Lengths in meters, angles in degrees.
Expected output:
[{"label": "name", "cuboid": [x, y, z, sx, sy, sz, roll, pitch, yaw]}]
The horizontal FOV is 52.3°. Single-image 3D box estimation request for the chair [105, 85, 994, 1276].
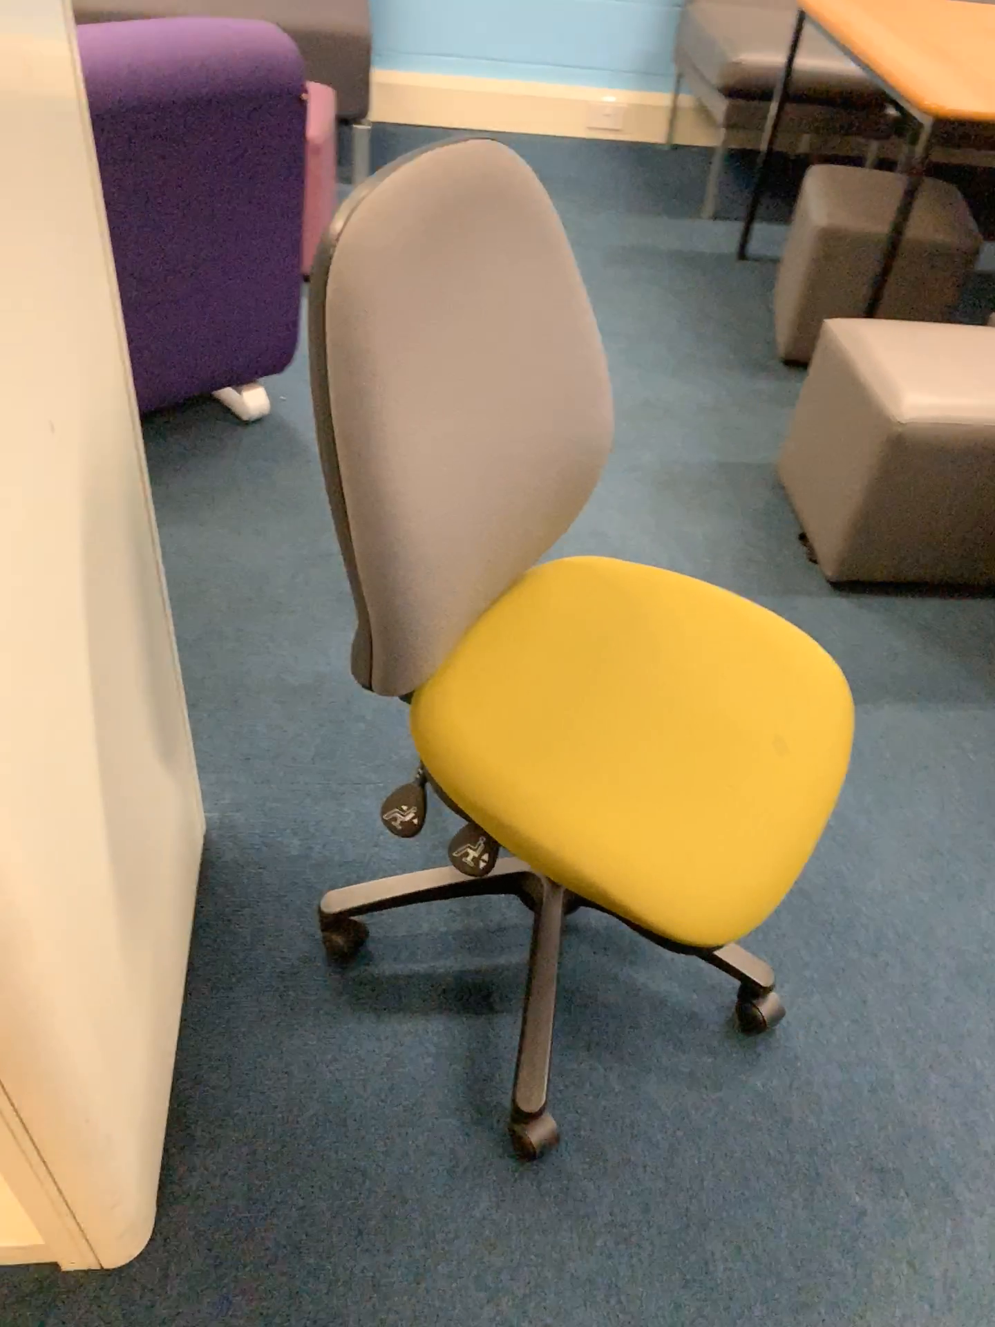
[{"label": "chair", "cuboid": [0.138, 0.022, 1.099, 0.661, 0.921, 0.646, 23, 45, 16]}]
